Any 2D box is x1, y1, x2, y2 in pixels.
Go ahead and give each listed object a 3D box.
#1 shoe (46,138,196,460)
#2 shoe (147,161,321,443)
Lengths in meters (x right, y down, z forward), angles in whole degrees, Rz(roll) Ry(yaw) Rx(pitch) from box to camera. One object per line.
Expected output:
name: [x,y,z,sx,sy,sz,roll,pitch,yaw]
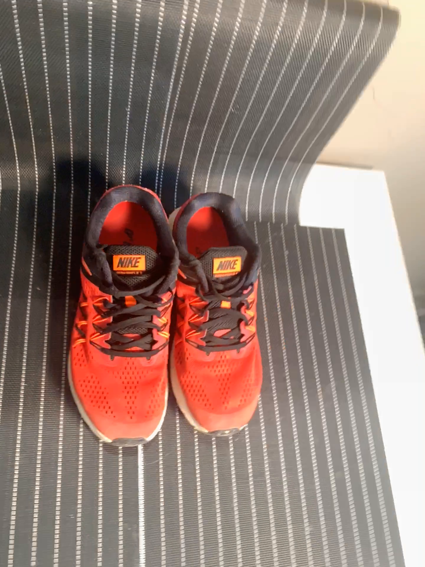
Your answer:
shoe: [-0.097,0.016,0.457,0.120,0.110,0.300,2,70,-16]
shoe: [0.009,0.020,0.470,0.120,0.110,0.270,-2,71,-18]
